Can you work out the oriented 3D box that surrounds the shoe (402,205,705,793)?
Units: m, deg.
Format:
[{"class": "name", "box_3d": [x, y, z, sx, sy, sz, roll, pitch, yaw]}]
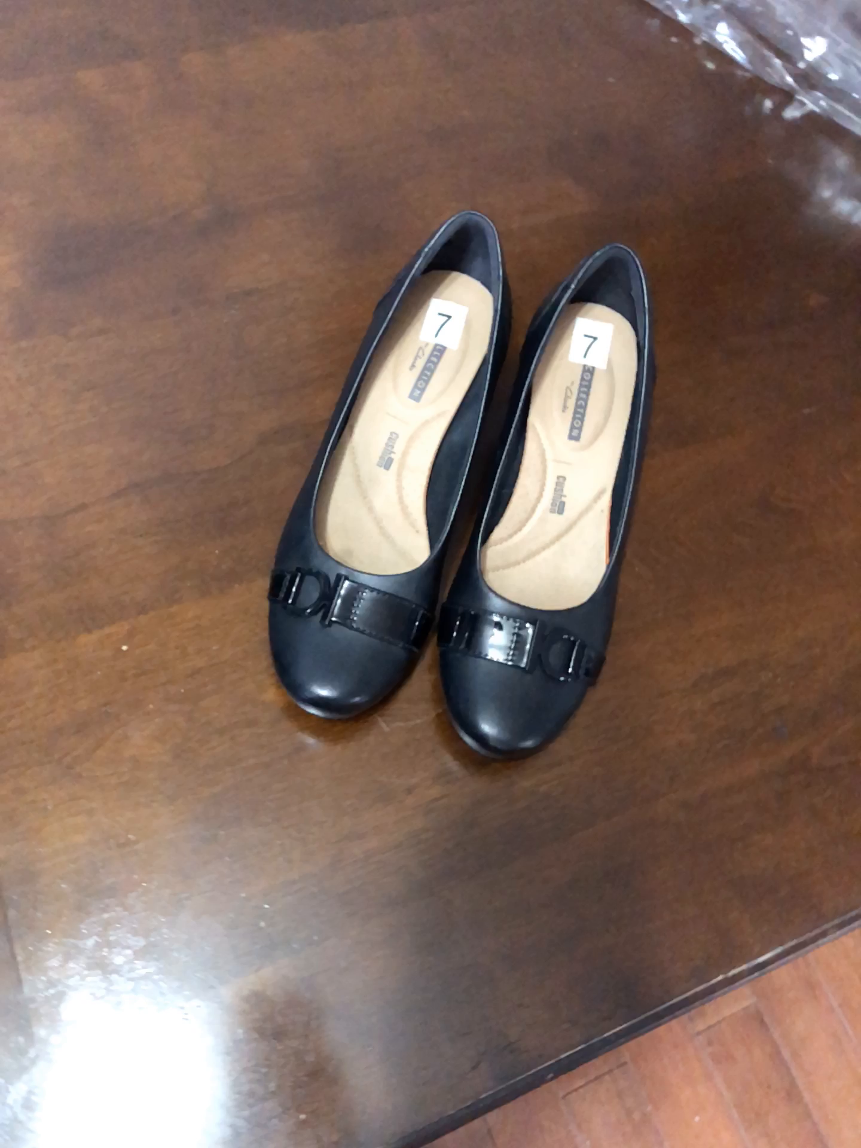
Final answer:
[{"class": "shoe", "box_3d": [0.061, -0.037, 0.464, 0.090, 0.110, 0.250, 13, 65, -2]}]

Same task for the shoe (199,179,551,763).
[{"class": "shoe", "box_3d": [-0.021, -0.052, 0.469, 0.090, 0.110, 0.250, 16, 65, 0]}]
